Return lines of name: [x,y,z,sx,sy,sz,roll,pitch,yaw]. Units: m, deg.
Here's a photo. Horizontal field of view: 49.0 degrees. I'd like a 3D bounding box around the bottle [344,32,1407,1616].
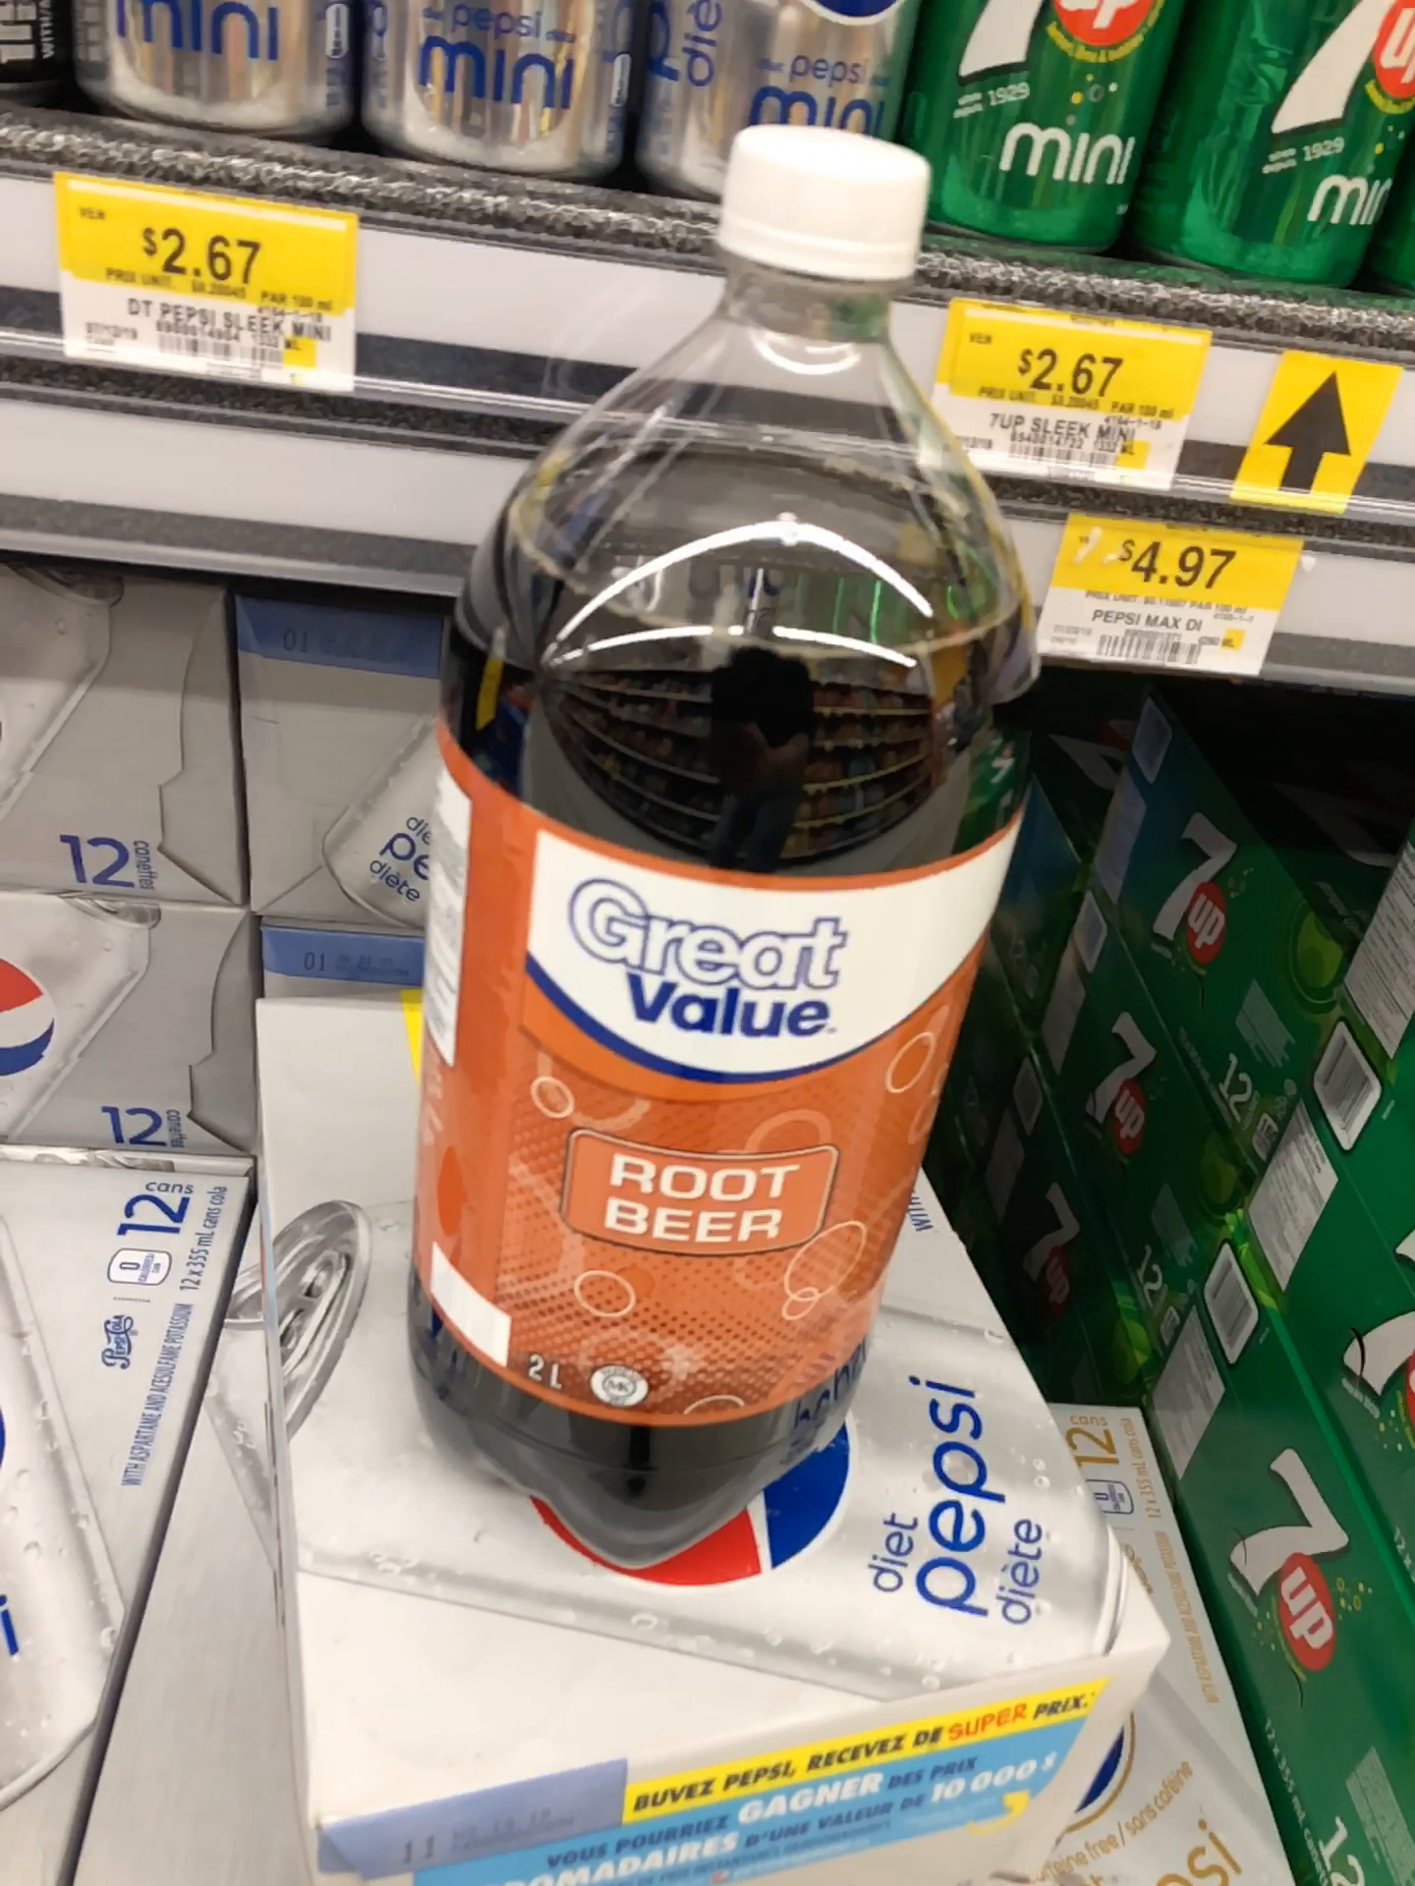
bottle: [0.002,-0.006,0.299,0.120,0.268,0.121,6,36,-5]
